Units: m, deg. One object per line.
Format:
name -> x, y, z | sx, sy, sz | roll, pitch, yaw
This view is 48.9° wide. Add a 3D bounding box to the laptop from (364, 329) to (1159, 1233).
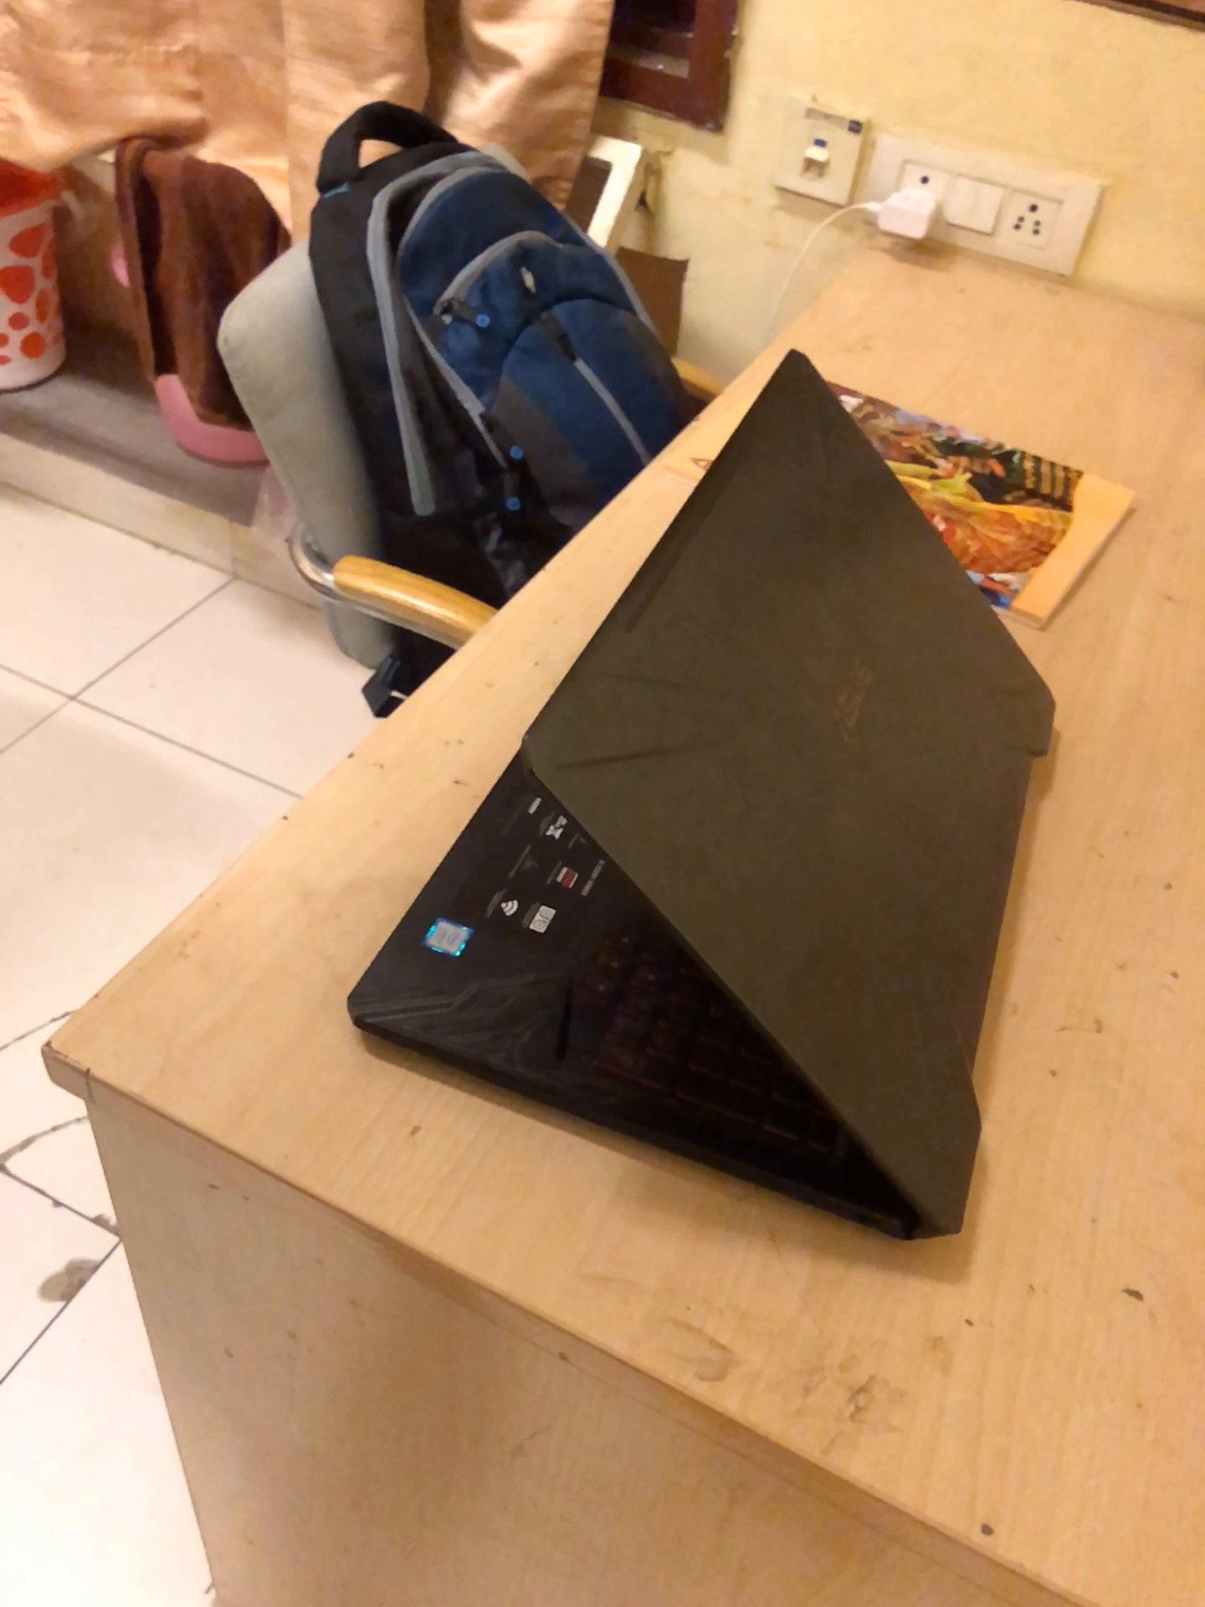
laptop -> 0.092, -0.045, 0.621 | 0.252, 0.173, 0.372 | 19, 43, 11
